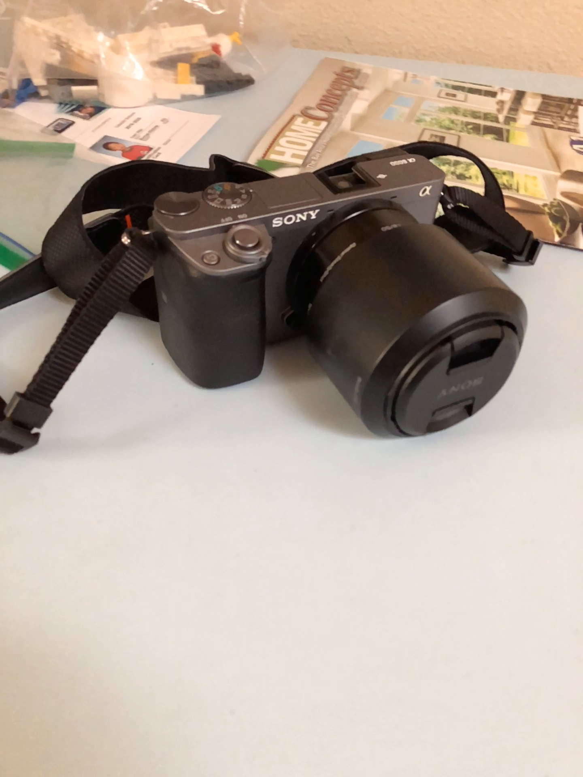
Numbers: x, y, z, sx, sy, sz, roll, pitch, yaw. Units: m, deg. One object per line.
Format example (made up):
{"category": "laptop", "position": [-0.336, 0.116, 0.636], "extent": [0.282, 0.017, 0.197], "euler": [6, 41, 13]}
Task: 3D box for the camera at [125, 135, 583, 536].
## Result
{"category": "camera", "position": [0.020, -0.030, 0.242], "extent": [0.130, 0.070, 0.110], "euler": [-16, 50, -20]}
